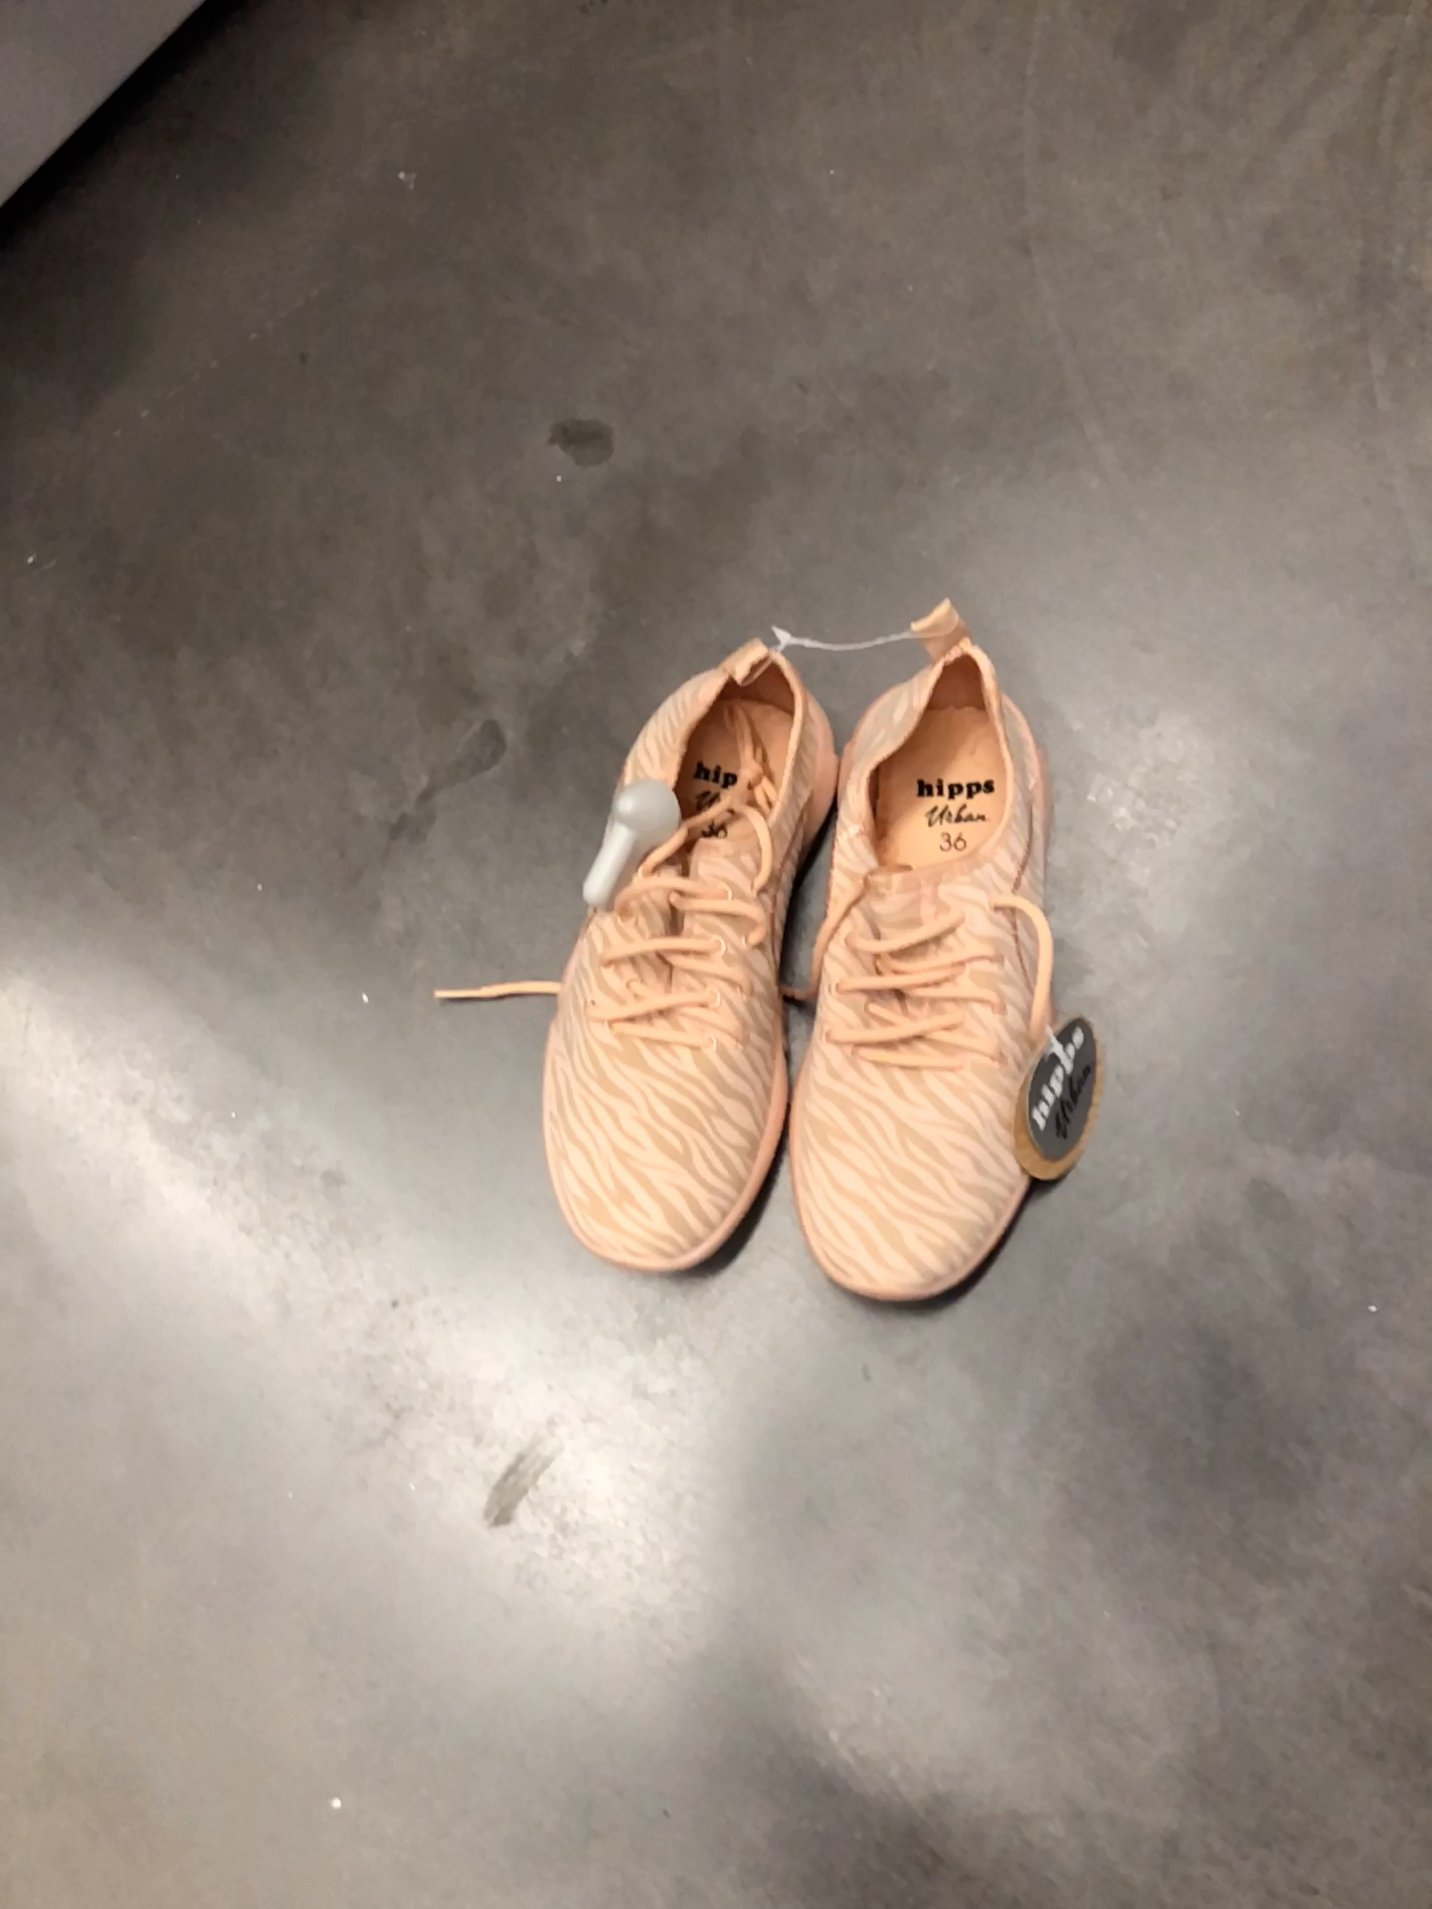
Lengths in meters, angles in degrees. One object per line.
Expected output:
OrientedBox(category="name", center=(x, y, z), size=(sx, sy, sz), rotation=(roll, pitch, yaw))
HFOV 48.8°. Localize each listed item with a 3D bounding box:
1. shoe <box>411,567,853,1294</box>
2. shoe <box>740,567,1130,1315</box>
OrientedBox(category="shoe", center=(-0.020, -0.006, 0.566), size=(0.100, 0.100, 0.230), rotation=(9, 76, 8))
OrientedBox(category="shoe", center=(0.076, -0.002, 0.541), size=(0.100, 0.100, 0.230), rotation=(6, 75, 7))
